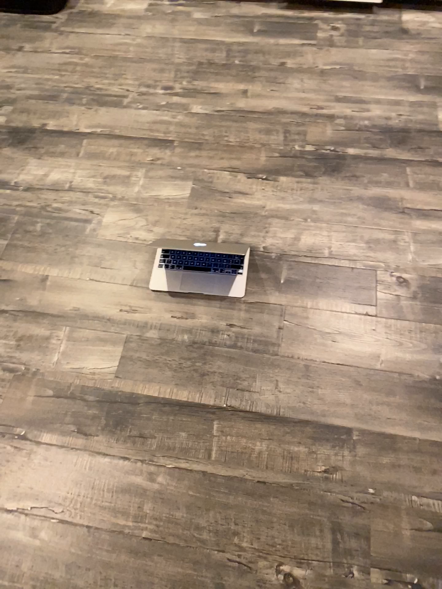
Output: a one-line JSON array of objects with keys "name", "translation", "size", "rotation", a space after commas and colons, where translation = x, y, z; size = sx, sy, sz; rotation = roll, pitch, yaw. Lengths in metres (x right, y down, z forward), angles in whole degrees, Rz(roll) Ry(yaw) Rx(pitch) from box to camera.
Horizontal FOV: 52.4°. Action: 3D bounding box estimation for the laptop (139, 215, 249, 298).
[{"name": "laptop", "translation": [-0.069, -0.115, 1.339], "size": [0.292, 0.132, 0.193], "rotation": [4, 59, 6]}]
